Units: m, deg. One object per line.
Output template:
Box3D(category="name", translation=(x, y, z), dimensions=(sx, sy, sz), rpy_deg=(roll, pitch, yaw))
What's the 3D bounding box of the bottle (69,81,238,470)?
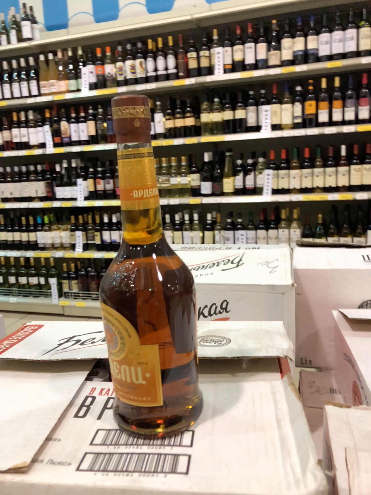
Box3D(category="bottle", translation=(-0.021, 0.018, 0.314), dimensions=(0.080, 0.259, 0.080), rpy_deg=(-4, 13, 1))
